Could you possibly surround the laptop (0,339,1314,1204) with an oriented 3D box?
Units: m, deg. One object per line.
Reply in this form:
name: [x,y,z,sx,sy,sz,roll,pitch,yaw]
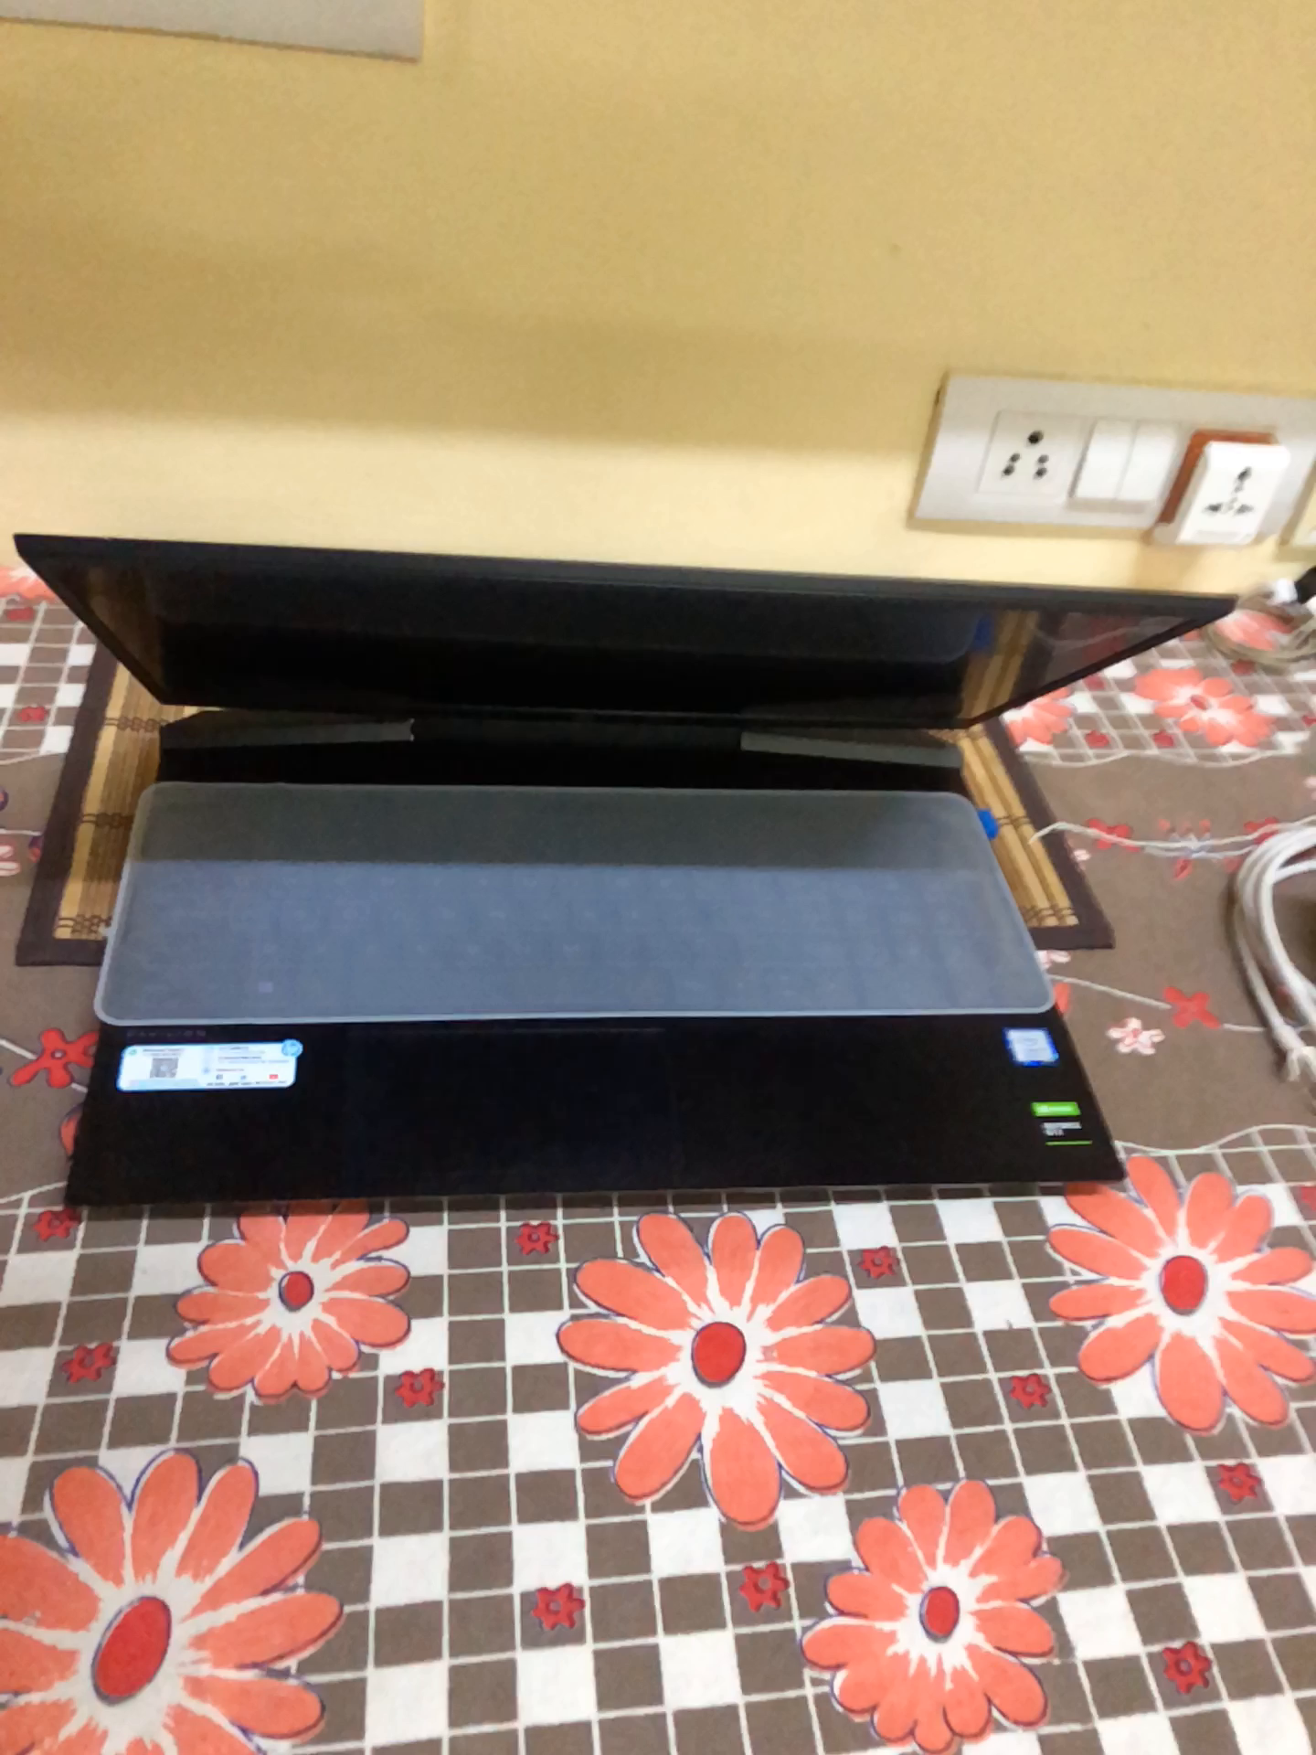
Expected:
laptop: [-0.014,-0.044,0.517,0.356,0.164,0.238,0,46,-8]
